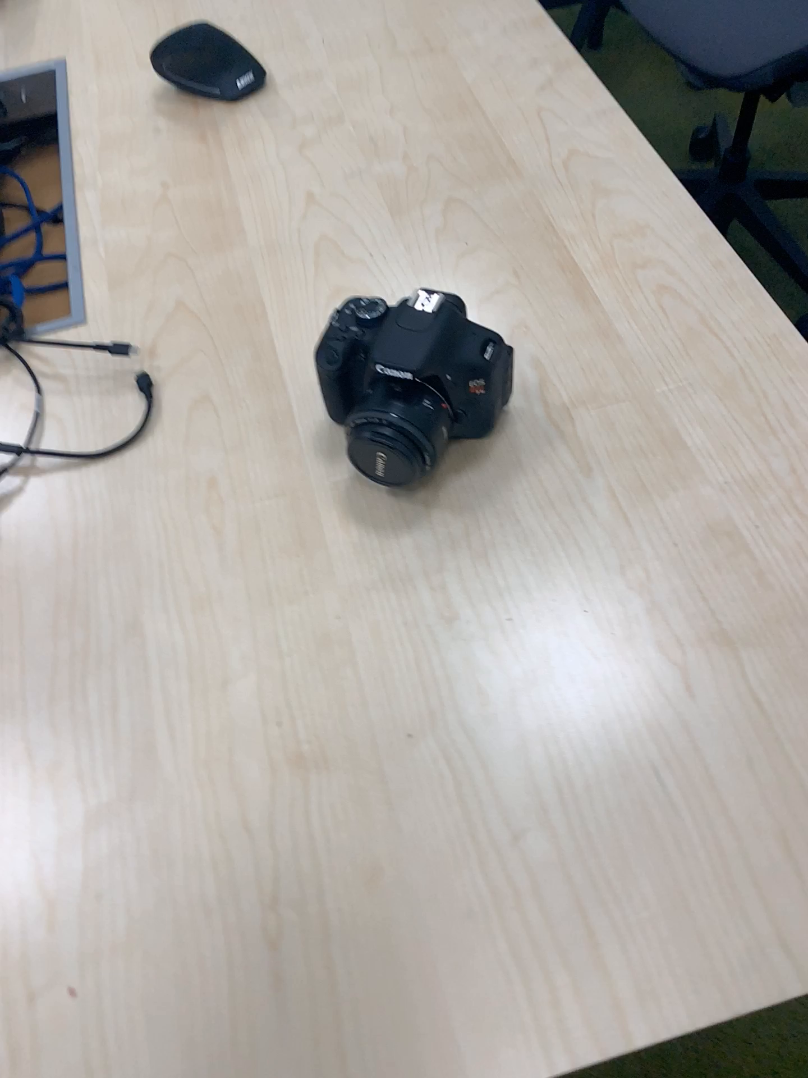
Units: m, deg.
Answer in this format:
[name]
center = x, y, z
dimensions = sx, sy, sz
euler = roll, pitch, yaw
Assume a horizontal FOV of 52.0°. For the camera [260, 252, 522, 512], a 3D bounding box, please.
[camera]
center = -0.002, -0.107, 0.559
dimensions = 0.130, 0.090, 0.120
euler = 16, 61, 17
